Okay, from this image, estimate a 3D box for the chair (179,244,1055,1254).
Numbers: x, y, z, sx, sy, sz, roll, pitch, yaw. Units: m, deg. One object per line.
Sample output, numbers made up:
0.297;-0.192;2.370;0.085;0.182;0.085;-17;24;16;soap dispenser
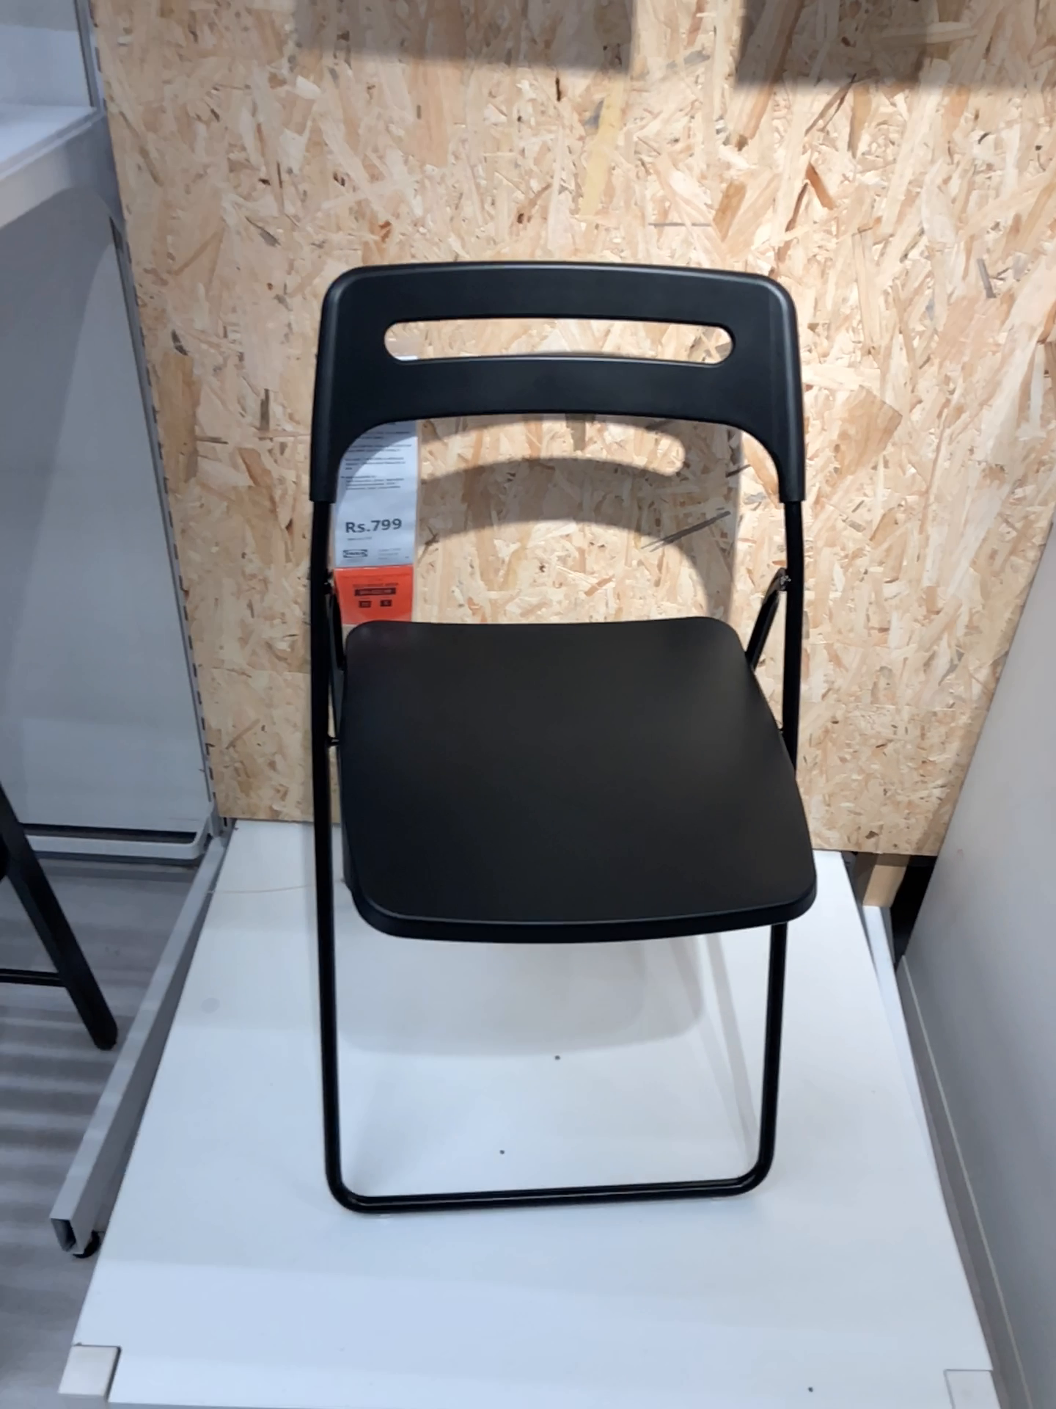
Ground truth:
0.034;0.044;1.053;0.490;0.735;0.523;0;37;-4;chair
